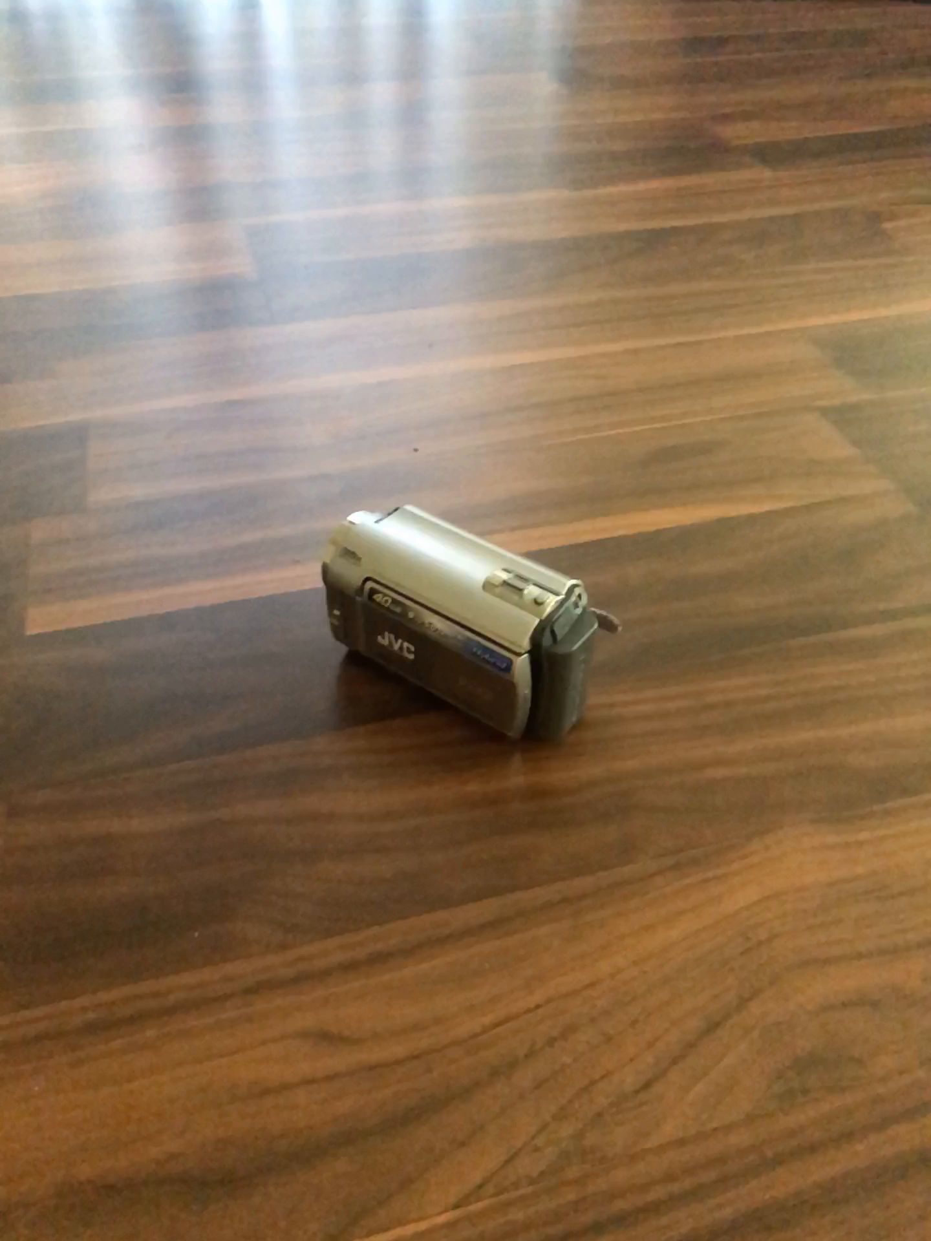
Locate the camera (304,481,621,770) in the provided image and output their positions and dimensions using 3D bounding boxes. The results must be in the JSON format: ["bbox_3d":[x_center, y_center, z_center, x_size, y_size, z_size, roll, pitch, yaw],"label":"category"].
[{"bbox_3d":[-0.003,-0.002,0.446,0.120,0.060,0.060,28,48,28],"label":"camera"}]
